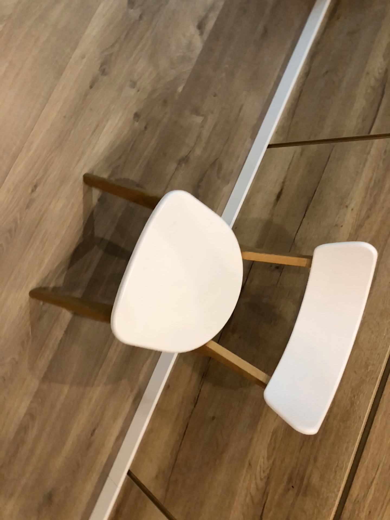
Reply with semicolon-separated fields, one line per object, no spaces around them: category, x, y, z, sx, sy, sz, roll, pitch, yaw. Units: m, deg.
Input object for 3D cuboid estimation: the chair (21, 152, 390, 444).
chair;-0.023;0.070;1.229;0.532;0.826;0.500;26;81;-38
